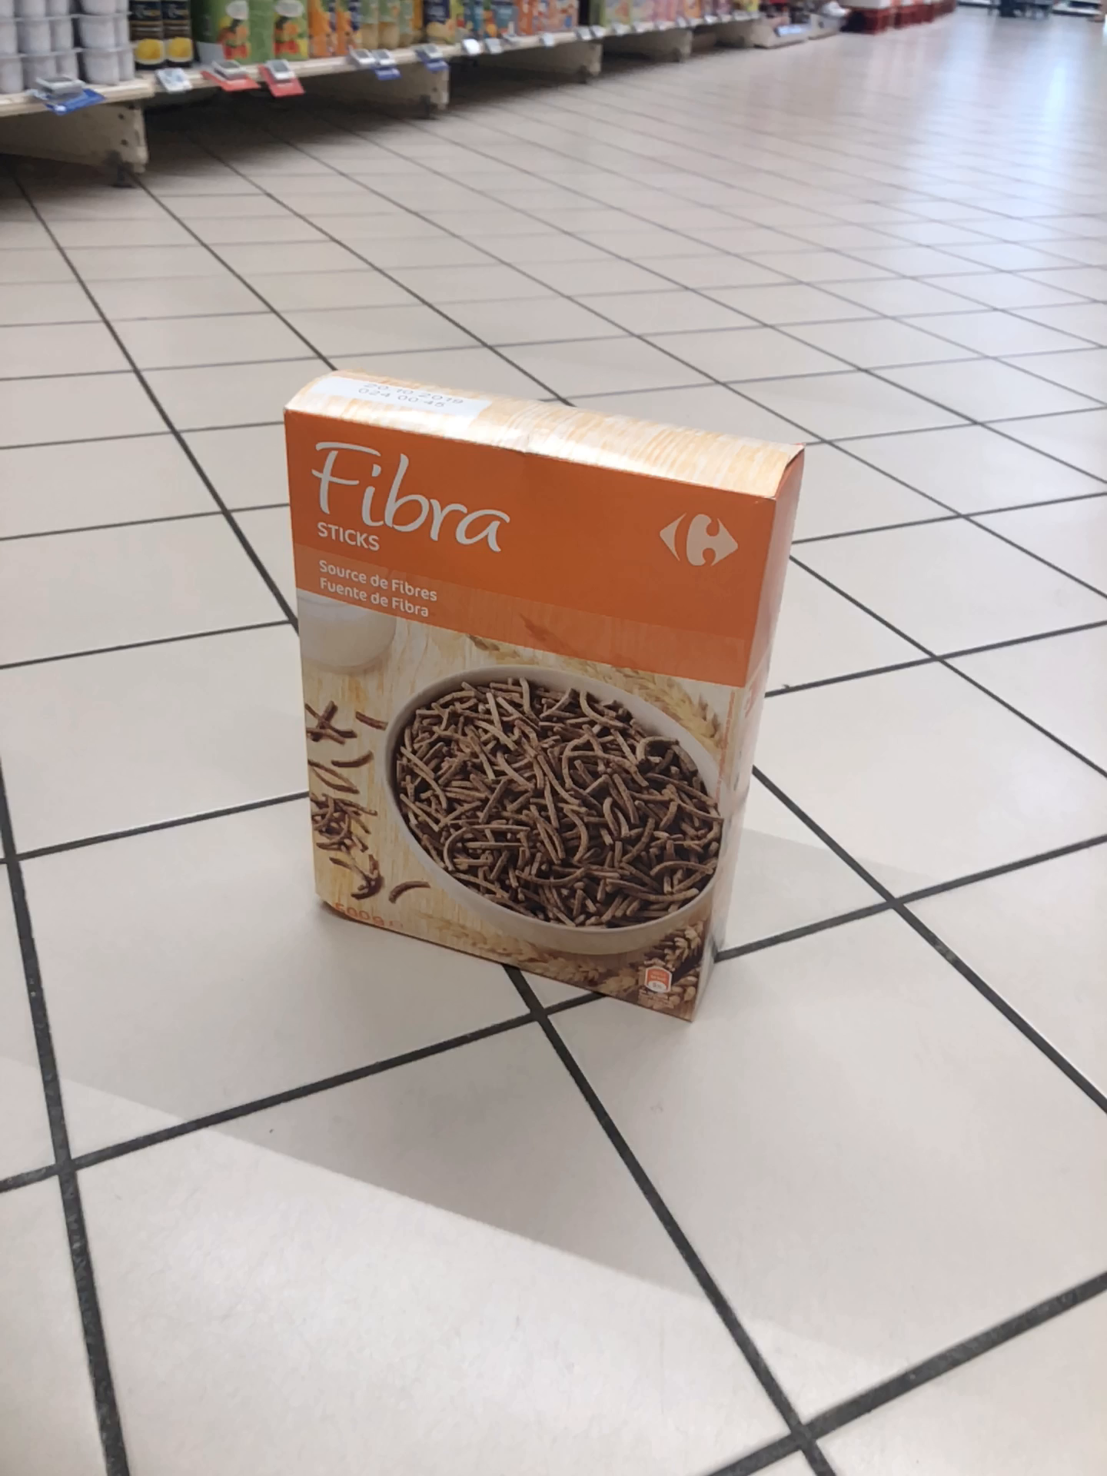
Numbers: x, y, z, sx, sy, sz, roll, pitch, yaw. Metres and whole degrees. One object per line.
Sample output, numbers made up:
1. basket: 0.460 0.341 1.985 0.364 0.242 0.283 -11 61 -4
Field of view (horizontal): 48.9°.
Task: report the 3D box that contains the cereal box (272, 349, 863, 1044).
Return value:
1. cereal box: -0.001 -0.016 0.506 0.200 0.239 0.081 14 34 16
